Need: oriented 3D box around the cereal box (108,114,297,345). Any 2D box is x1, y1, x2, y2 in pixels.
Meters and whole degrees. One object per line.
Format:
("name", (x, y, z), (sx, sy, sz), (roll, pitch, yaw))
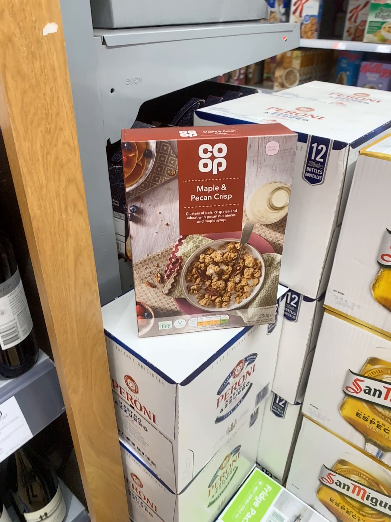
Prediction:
("cereal box", (0.004, -0.030, 0.462), (0.180, 0.248, 0.061), (-6, 30, -10))
